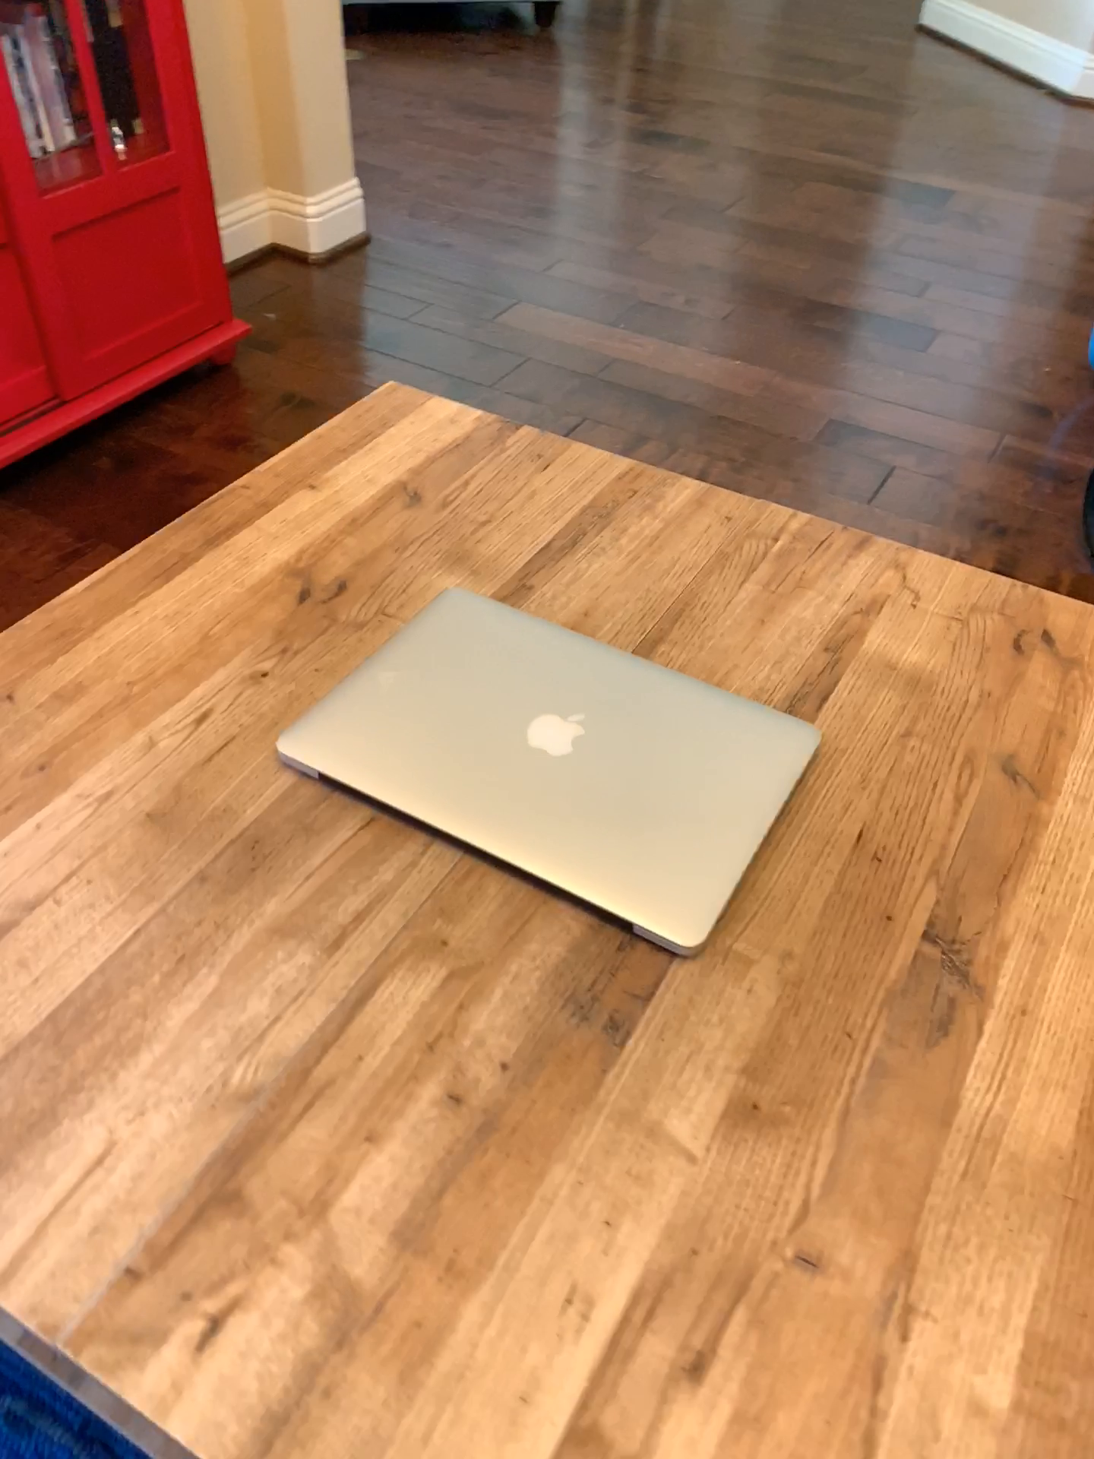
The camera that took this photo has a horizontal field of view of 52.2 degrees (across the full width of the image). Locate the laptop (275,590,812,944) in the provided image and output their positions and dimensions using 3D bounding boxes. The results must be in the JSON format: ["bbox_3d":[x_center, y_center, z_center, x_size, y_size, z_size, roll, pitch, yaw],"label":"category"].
[{"bbox_3d":[0.002,0.007,0.756,0.298,0.002,0.208,23,46,20],"label":"laptop"}]
